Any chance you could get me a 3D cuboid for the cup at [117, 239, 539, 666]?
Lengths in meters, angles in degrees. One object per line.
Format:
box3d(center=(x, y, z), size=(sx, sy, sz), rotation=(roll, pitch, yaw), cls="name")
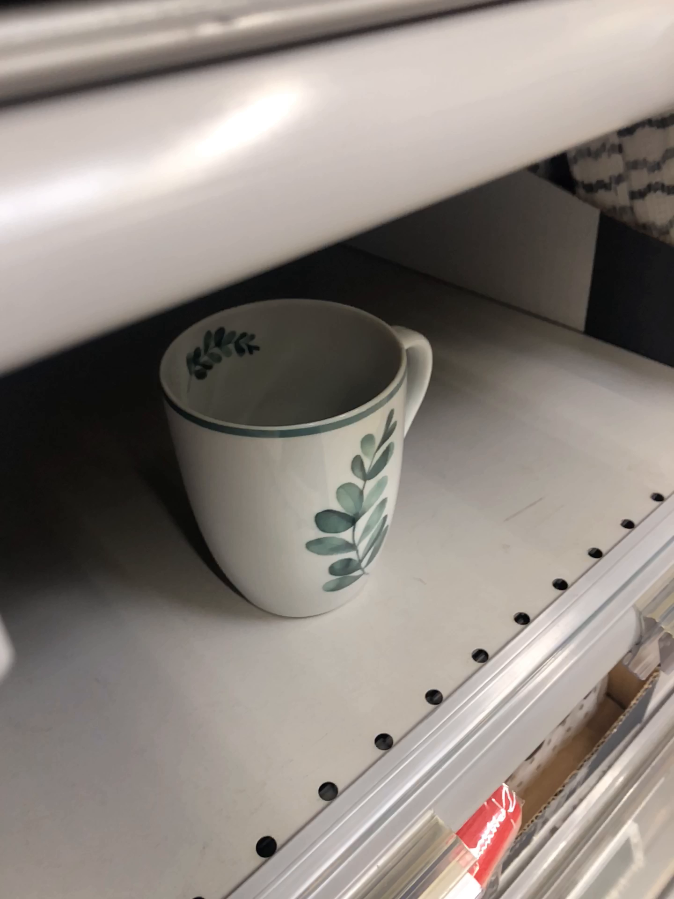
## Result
box3d(center=(-0.001, -0.006, 0.281), size=(0.117, 0.093, 0.082), rotation=(-29, 46, -30), cls="cup")
